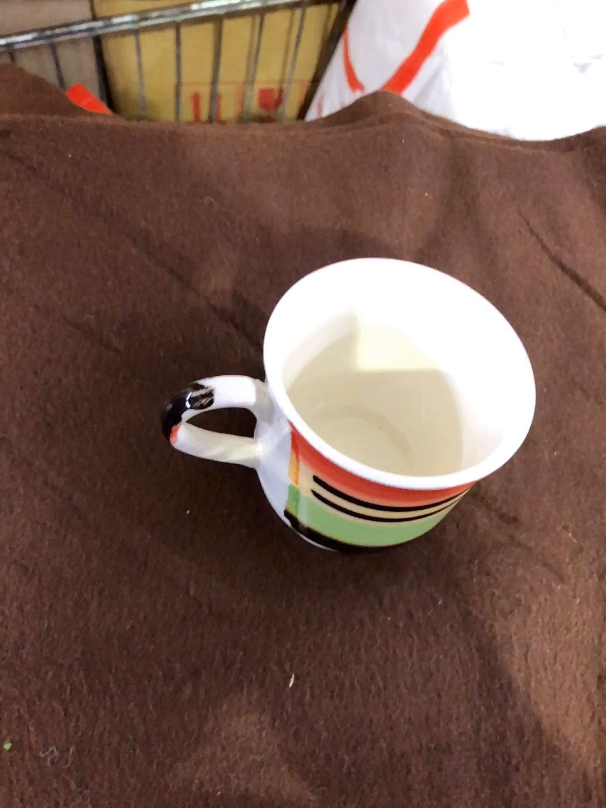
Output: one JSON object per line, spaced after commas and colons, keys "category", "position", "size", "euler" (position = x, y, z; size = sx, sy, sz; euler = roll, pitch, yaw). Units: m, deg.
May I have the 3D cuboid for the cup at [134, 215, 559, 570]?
{"category": "cup", "position": [0.005, 0.000, 0.191], "size": [0.090, 0.070, 0.070], "euler": [0, 58, -6]}
